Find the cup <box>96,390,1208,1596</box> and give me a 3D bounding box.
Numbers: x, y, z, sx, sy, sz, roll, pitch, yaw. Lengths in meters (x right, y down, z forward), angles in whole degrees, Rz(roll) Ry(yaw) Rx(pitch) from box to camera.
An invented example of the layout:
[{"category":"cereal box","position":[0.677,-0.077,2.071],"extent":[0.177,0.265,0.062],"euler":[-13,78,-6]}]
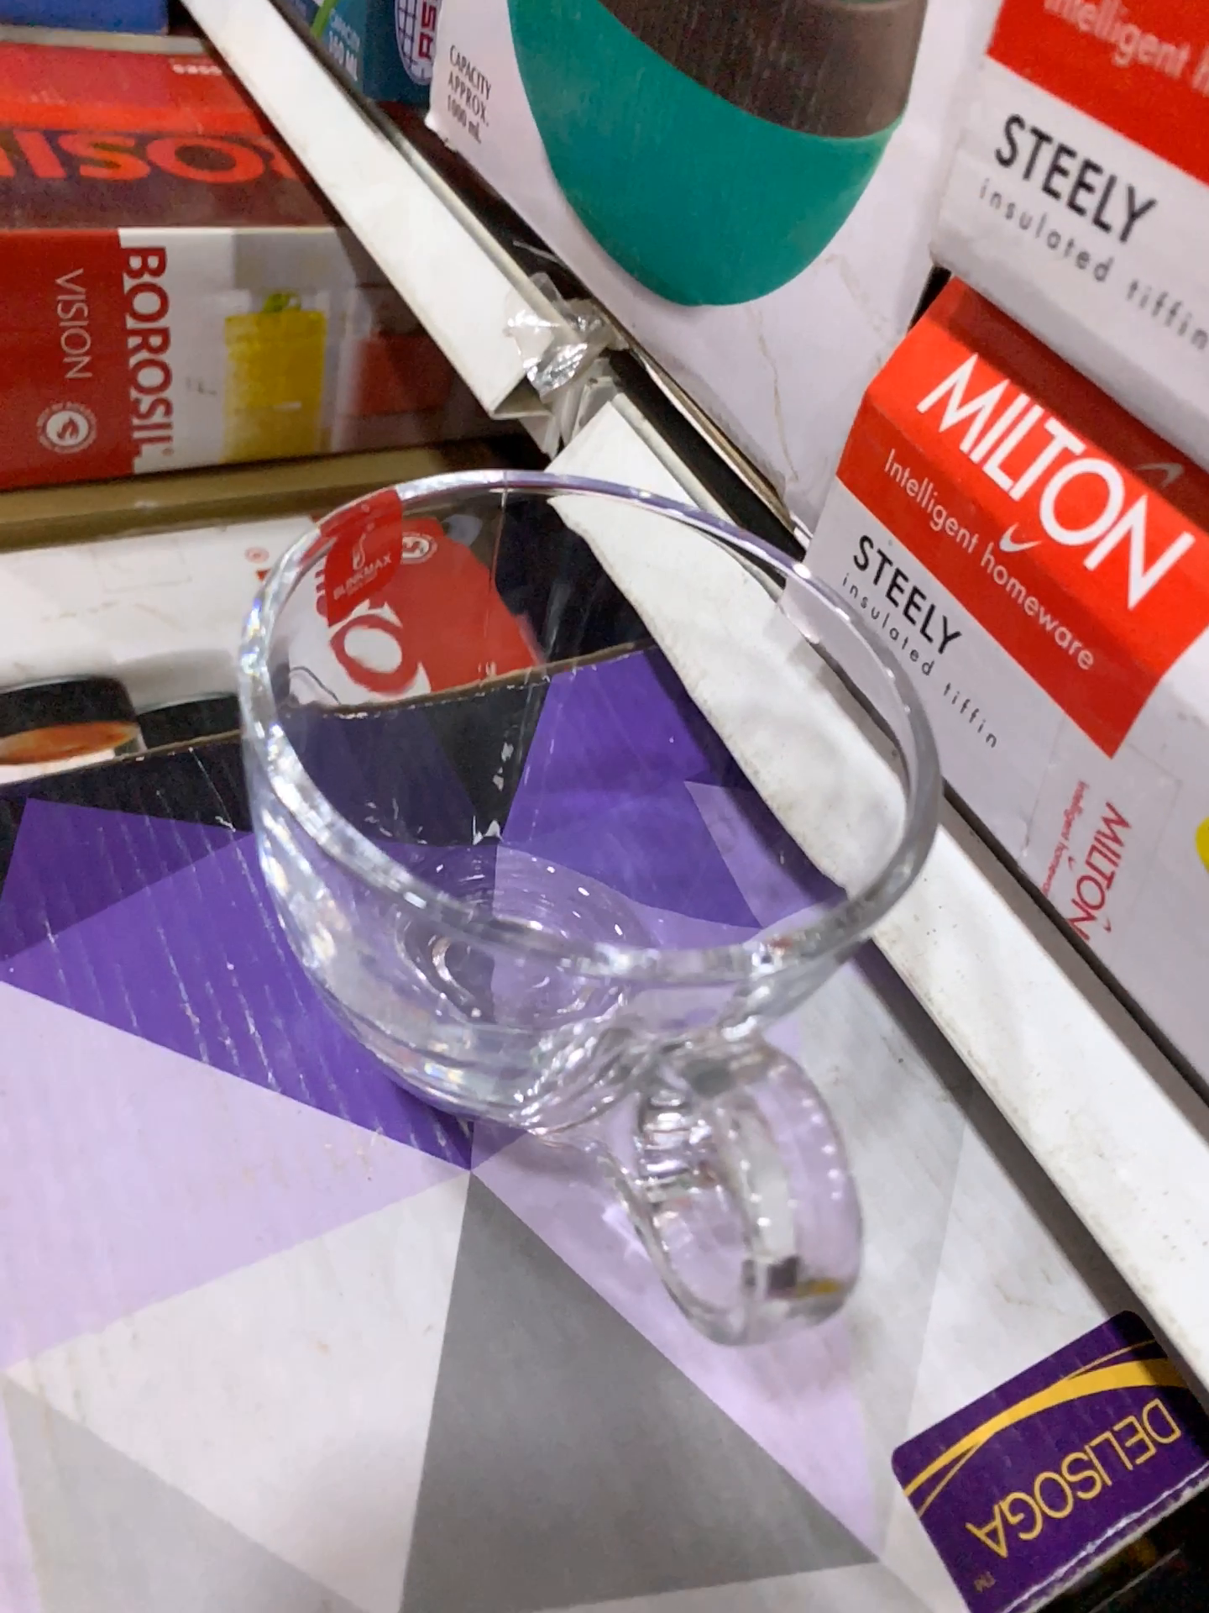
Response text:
[{"category":"cup","position":[-0.004,0.010,0.150],"extent":[0.080,0.060,0.111],"euler":[-13,52,-23]}]
